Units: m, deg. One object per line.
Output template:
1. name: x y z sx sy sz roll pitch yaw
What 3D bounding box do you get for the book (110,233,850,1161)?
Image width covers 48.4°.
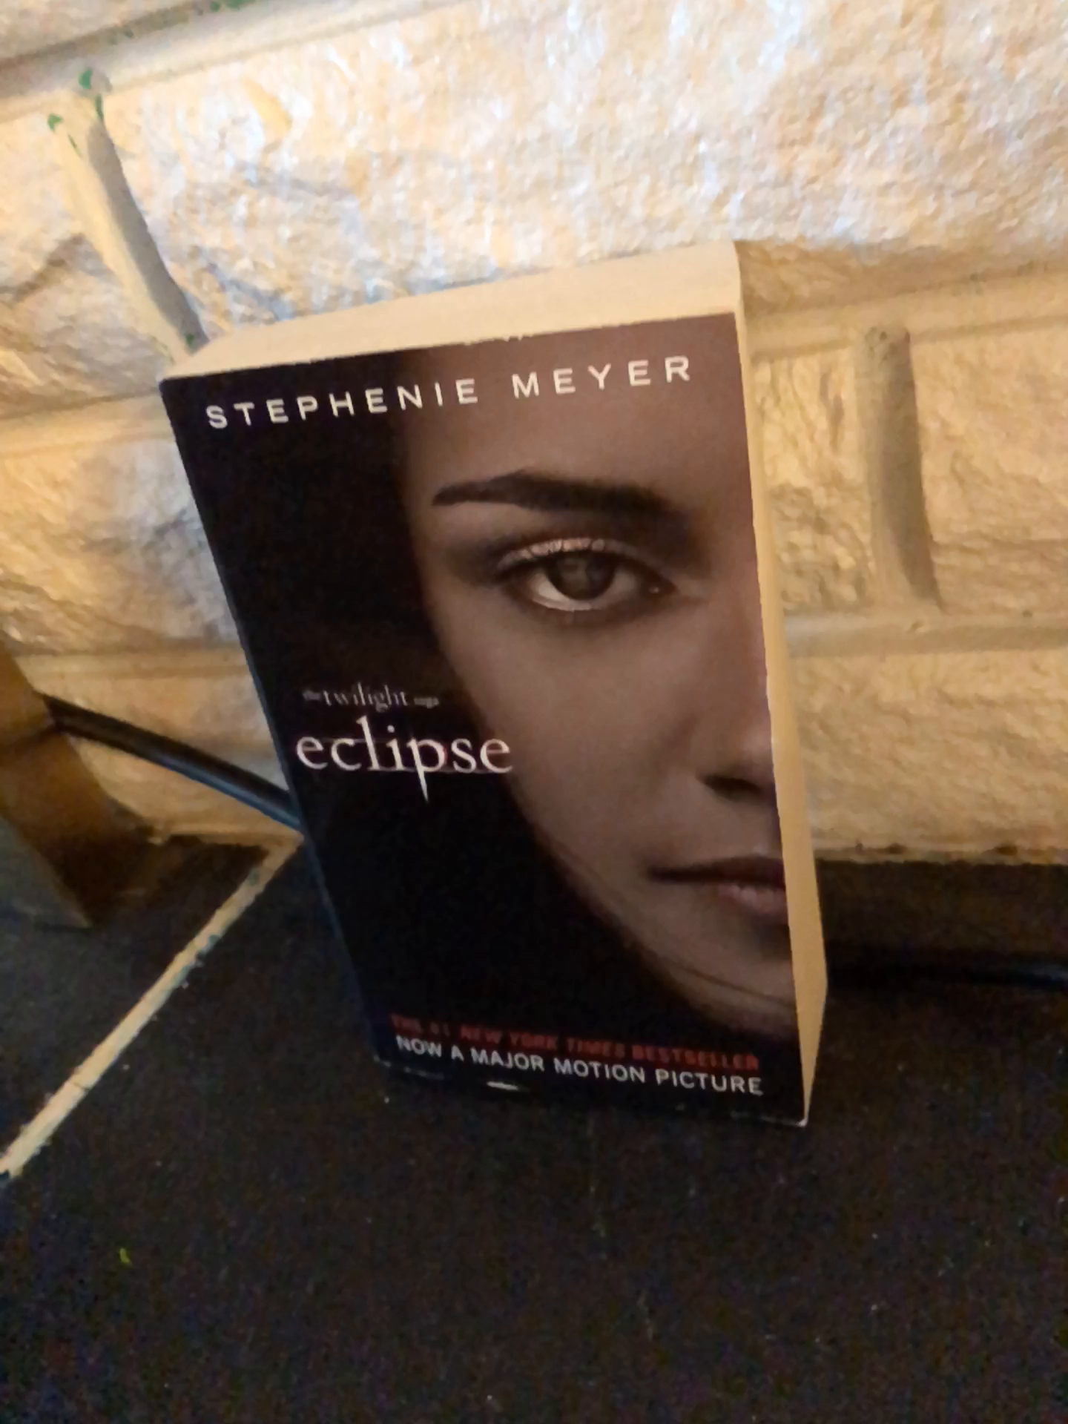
1. book: 0.000 0.007 0.248 0.106 0.181 0.042 1 33 26
